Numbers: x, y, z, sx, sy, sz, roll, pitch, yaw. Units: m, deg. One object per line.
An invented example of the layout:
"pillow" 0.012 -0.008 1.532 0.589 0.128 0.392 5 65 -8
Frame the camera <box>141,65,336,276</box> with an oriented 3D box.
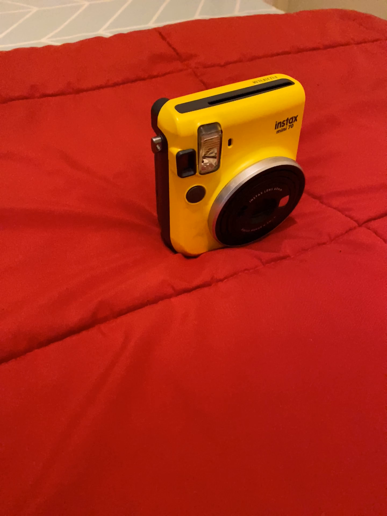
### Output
"camera" 0.023 -0.056 0.266 0.095 0.103 0.057 -20 54 -19
